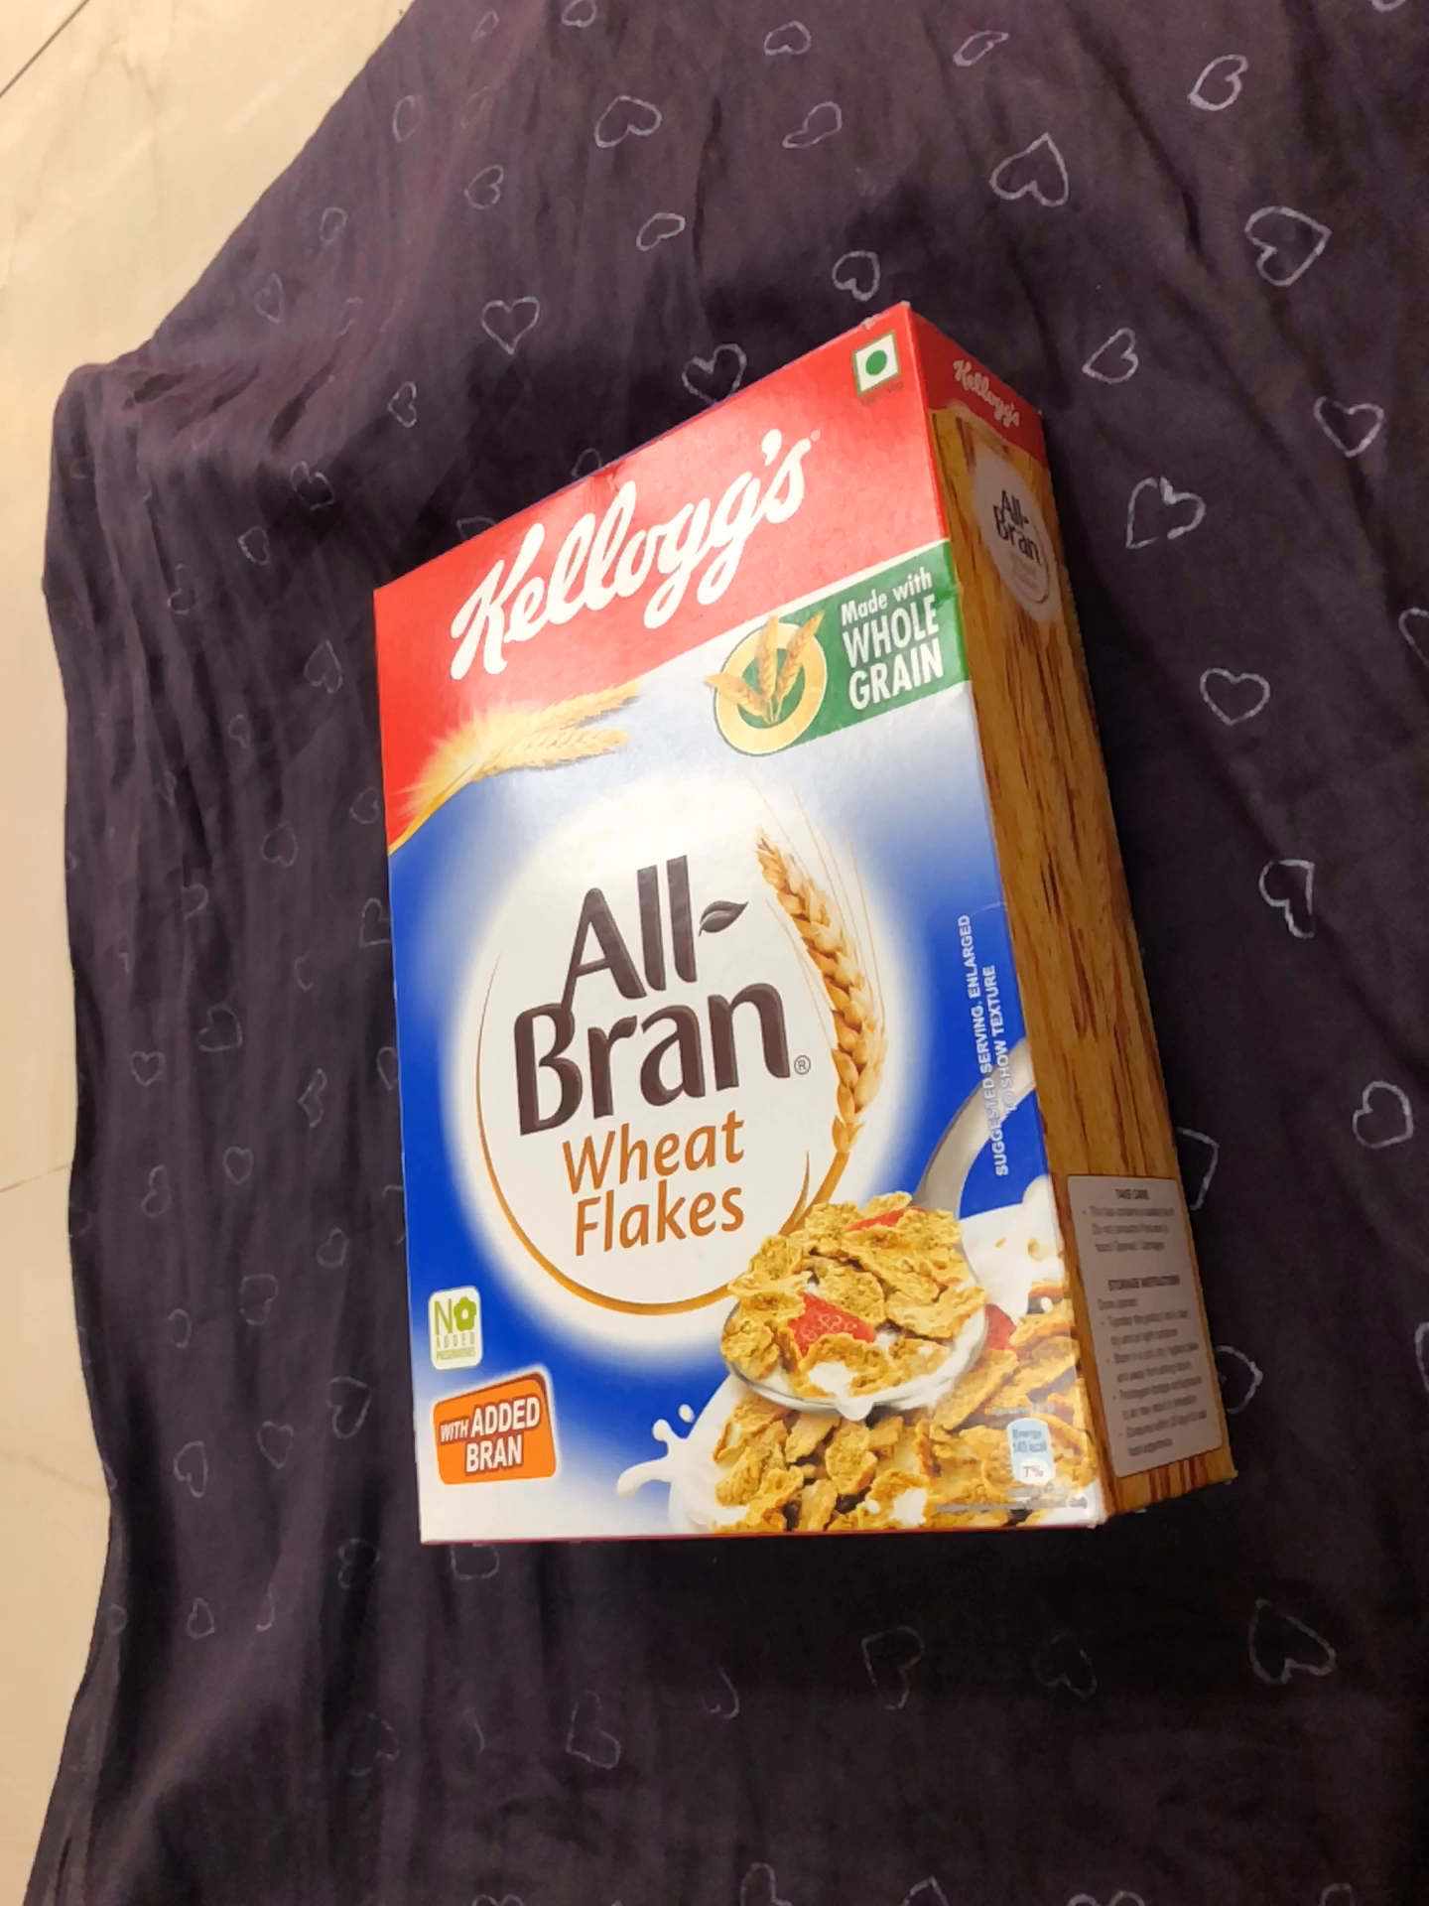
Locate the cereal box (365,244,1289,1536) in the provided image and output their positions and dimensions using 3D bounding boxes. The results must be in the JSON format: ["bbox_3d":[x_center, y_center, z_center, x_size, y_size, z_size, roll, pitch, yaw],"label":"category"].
[{"bbox_3d":[0.010,-0.001,0.389,0.191,0.070,0.260,-16,72,35],"label":"cereal box"}]
